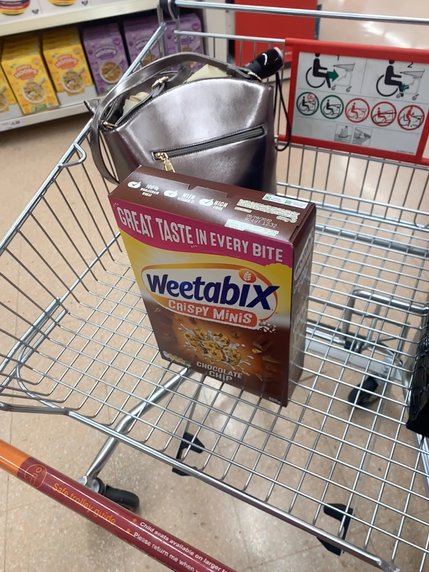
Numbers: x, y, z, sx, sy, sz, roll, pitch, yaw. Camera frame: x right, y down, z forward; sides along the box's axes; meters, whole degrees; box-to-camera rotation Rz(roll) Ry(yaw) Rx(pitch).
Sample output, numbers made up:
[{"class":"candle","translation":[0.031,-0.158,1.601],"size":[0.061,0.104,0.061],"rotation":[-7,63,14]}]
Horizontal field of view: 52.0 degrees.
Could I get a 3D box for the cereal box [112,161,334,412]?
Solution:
[{"class":"cereal box","translation":[0.013,0.015,0.494],"size":[0.190,0.278,0.060],"rotation":[18,52,20]}]
